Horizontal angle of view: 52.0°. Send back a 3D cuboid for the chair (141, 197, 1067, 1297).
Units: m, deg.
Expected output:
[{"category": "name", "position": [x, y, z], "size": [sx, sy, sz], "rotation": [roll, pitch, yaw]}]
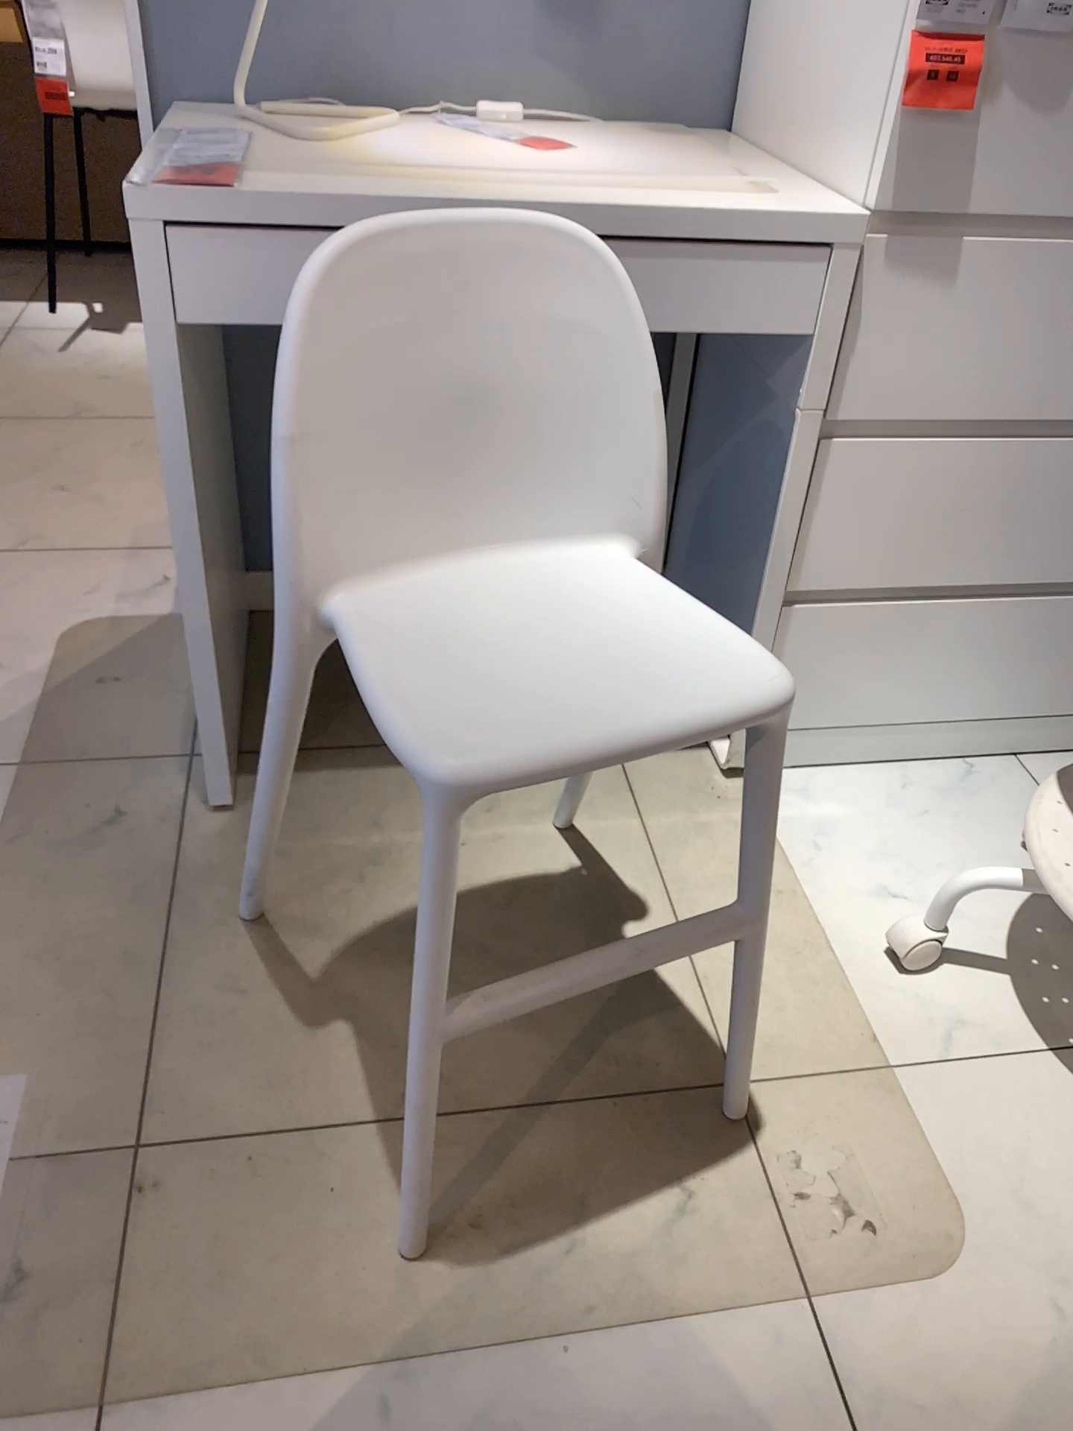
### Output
[{"category": "chair", "position": [-0.018, 0.004, 0.955], "size": [0.450, 0.727, 0.492], "rotation": [-12, 40, -22]}]
